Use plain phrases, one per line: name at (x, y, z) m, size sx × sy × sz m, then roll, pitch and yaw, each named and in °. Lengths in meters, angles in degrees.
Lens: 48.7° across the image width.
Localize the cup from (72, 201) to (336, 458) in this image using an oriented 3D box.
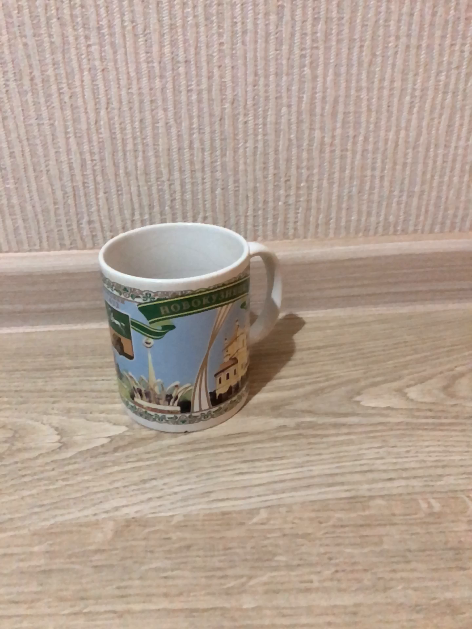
cup at (-0.017, 0.000, 0.311) m, size 0.121 × 0.096 × 0.082 m, roll -19°, pitch 33°, yaw -30°
